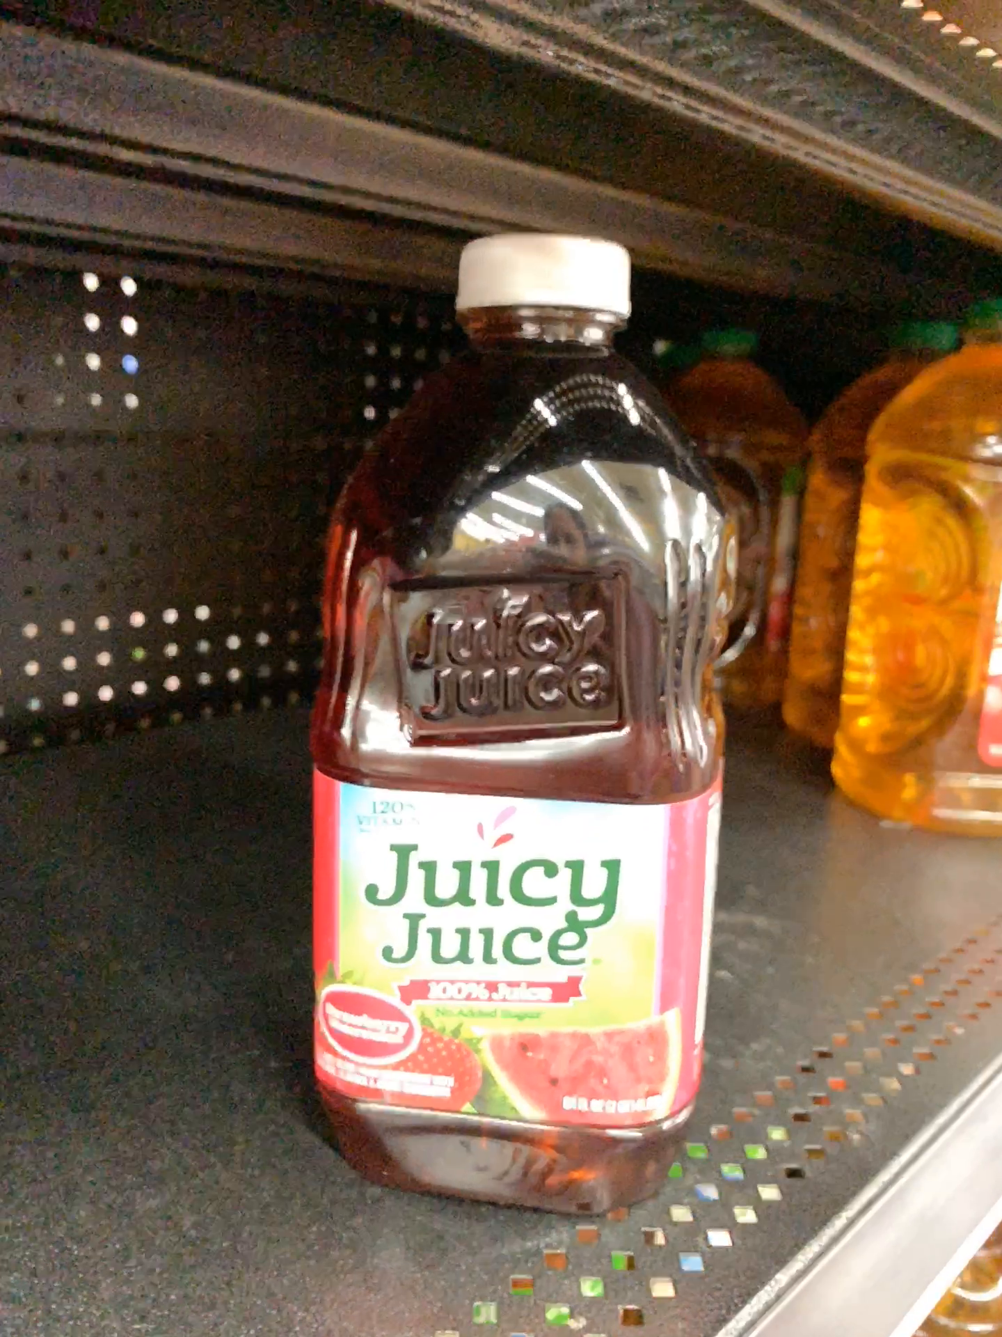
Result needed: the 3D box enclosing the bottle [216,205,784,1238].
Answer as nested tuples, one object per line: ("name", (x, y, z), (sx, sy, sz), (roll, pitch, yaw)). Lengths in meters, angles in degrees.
("bottle", (-0.002, 0.014, 0.302), (0.125, 0.255, 0.090), (4, 13, 6))
